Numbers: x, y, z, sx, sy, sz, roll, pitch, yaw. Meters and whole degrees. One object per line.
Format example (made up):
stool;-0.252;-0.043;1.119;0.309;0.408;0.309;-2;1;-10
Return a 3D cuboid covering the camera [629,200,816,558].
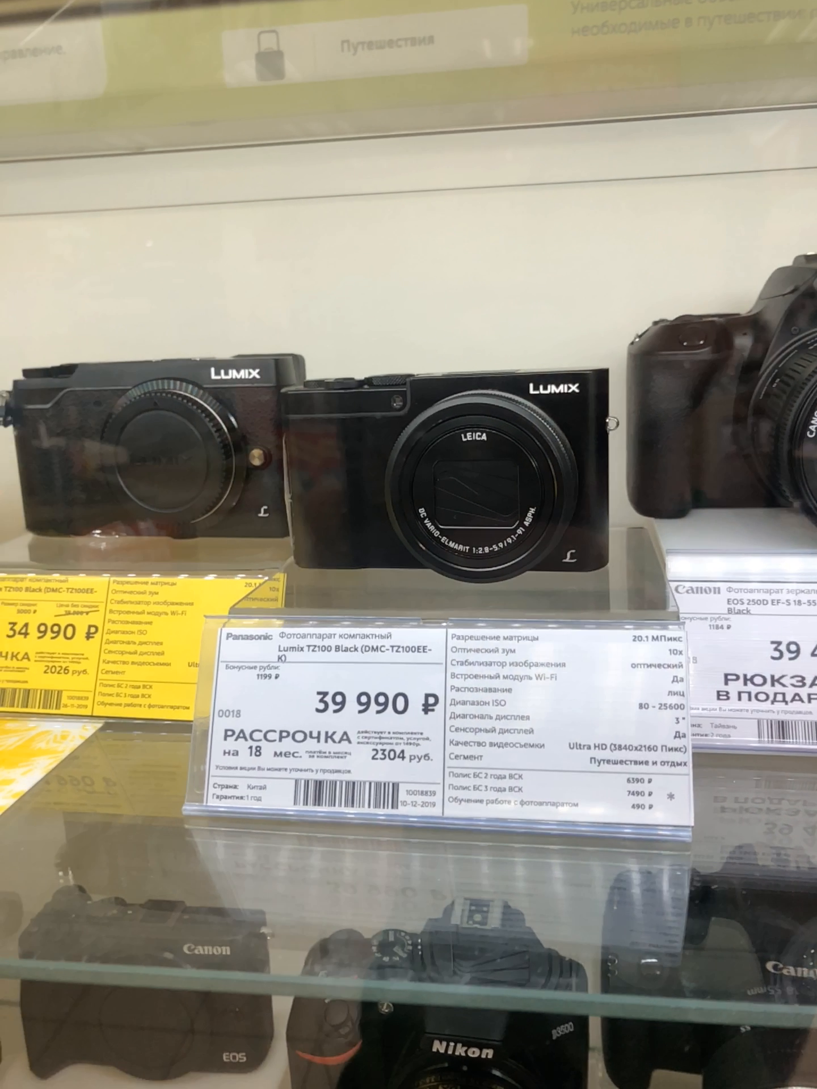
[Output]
camera;0.170;-0.066;0.347;0.157;0.099;0.164;0;15;11

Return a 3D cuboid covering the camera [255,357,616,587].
camera;0.011;-0.025;0.301;0.111;0.068;0.038;0;13;11

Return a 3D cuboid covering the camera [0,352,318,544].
camera;-0.098;-0.040;0.367;0.108;0.068;0.055;0;13;11
